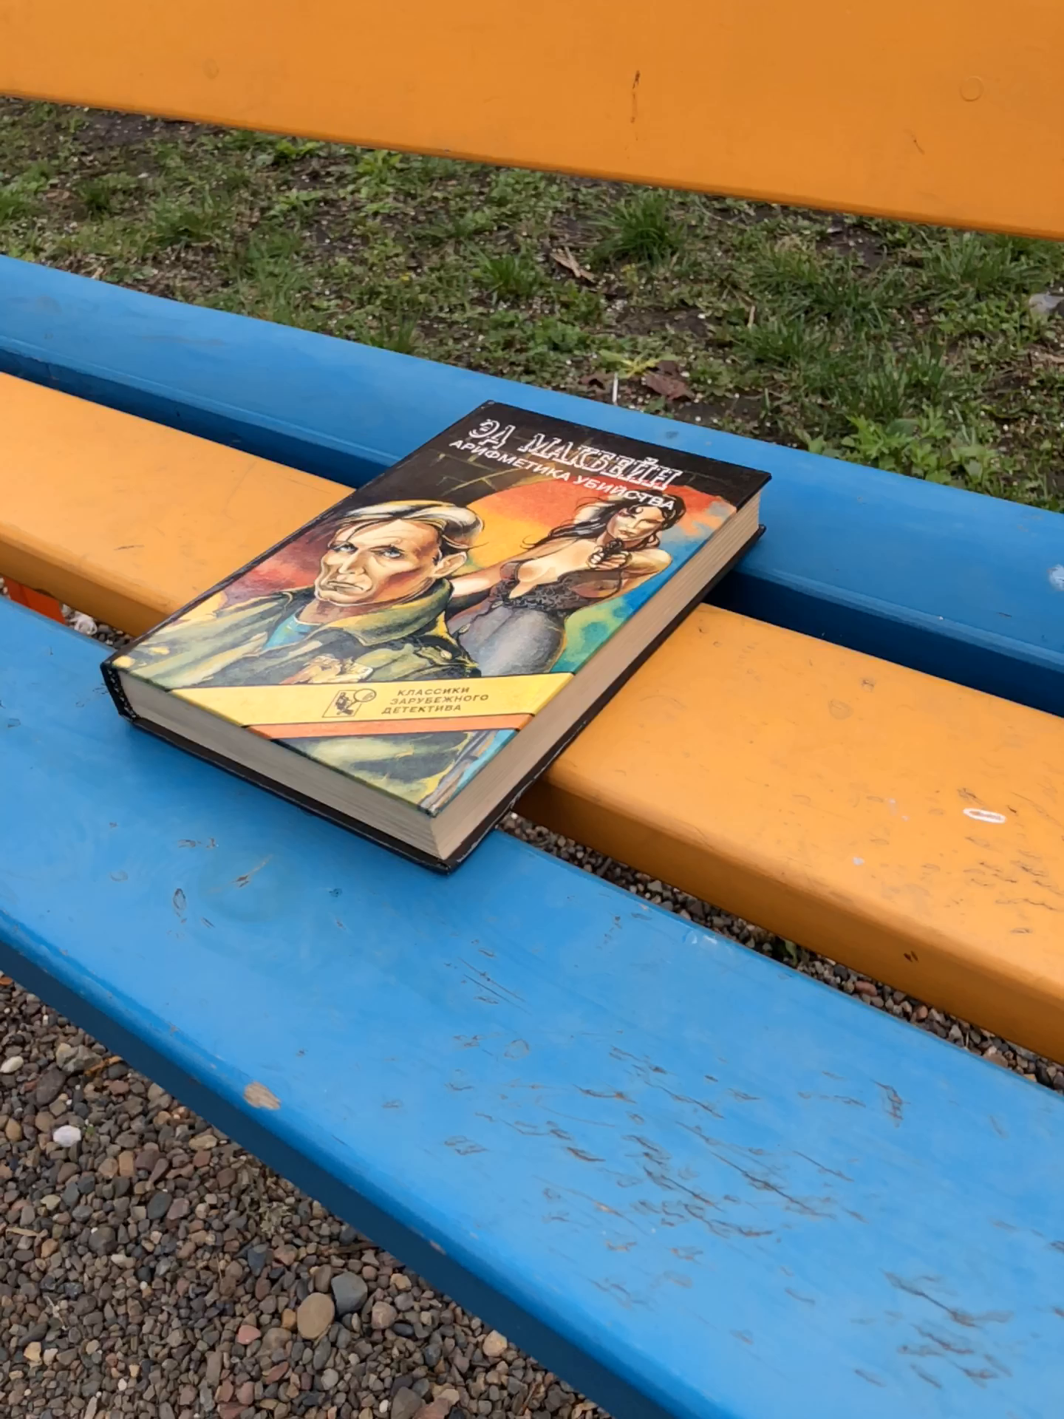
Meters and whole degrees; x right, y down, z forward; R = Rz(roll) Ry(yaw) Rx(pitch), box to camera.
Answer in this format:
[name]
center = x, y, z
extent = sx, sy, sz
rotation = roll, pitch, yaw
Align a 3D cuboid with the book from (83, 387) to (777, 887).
[book]
center = -0.024, -0.044, 0.407
extent = 0.136, 0.030, 0.211
rotation = 21, 46, 27
